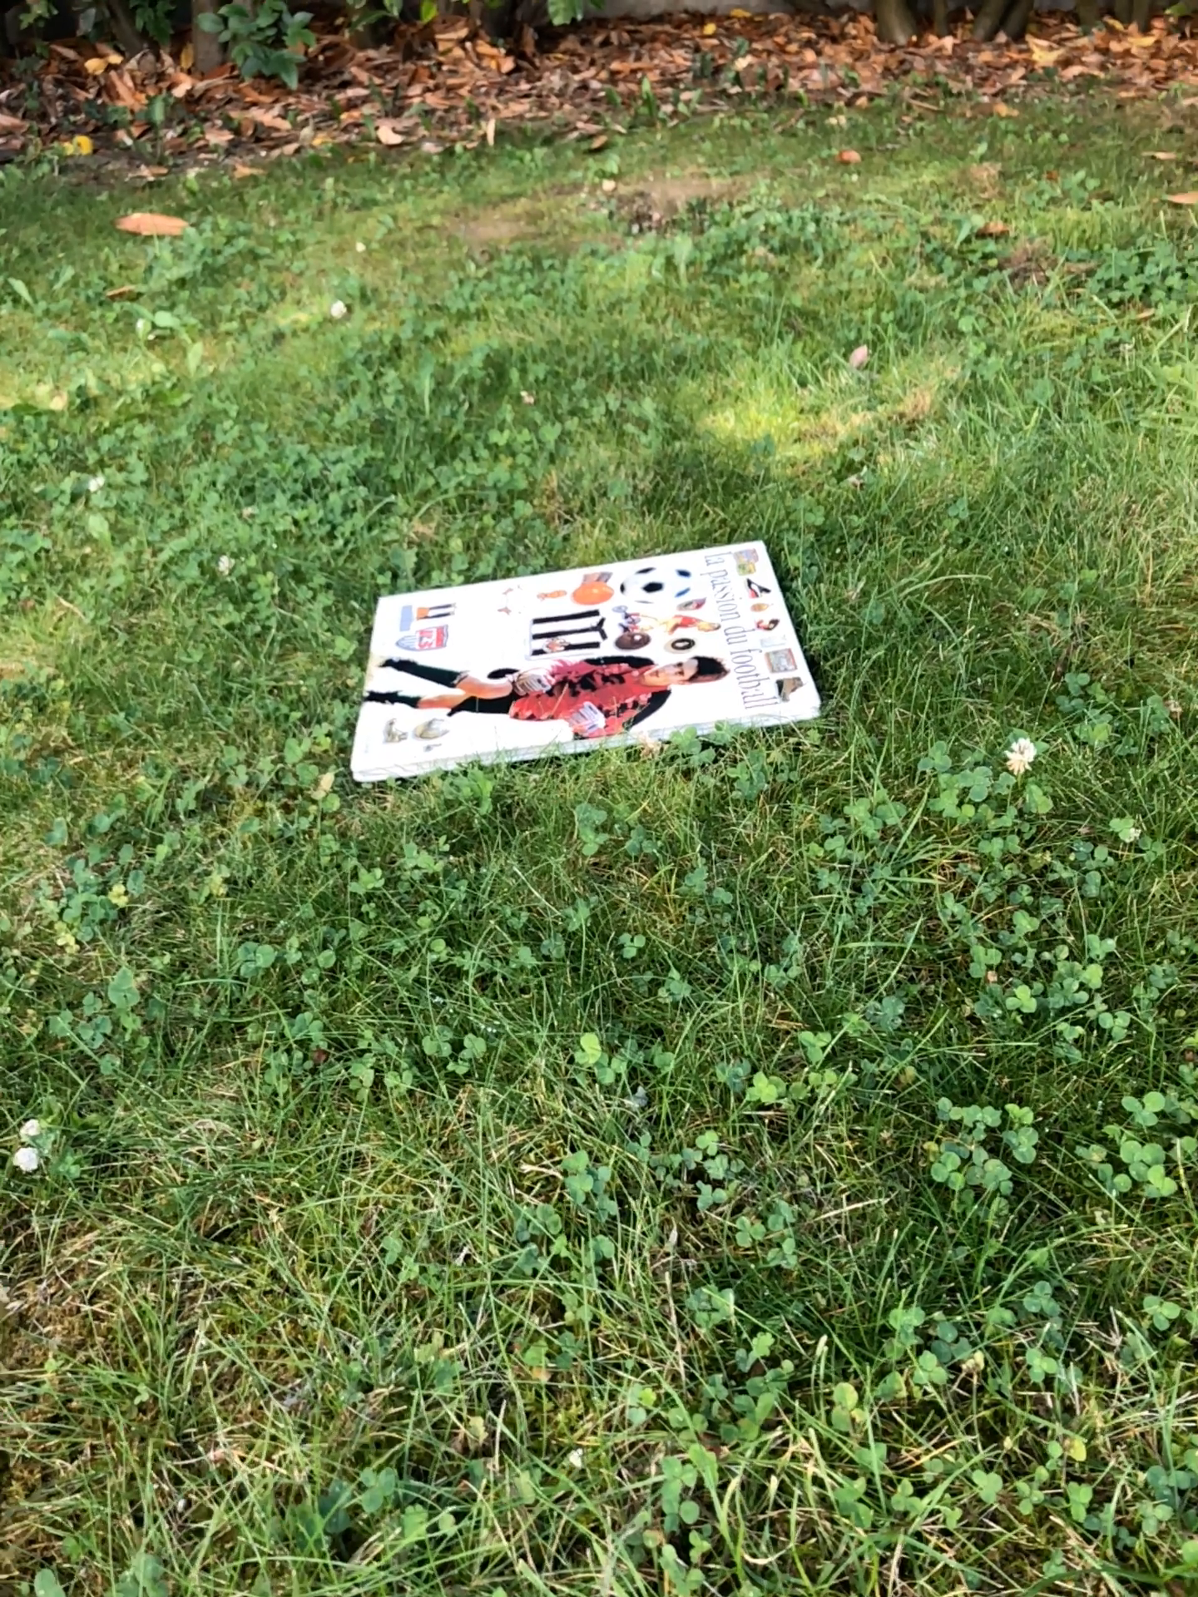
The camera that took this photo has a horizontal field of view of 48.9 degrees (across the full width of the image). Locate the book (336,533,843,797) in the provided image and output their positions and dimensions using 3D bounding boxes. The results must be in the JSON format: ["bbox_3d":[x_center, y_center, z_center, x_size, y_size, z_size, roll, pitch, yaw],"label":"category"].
[{"bbox_3d":[-0.011,-0.096,0.871,0.300,0.020,0.231,-7,36,2],"label":"book"}]
